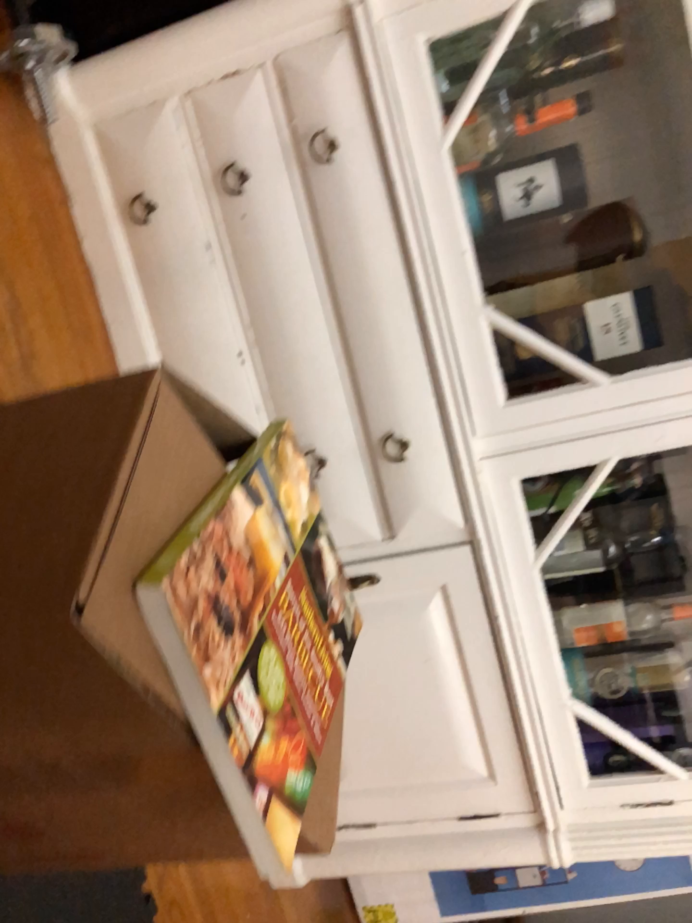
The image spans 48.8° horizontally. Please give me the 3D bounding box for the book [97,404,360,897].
[{"bbox_3d":[-0.057,0.106,0.555,0.291,0.020,0.220,-62,137,-65],"label":"book"}]
